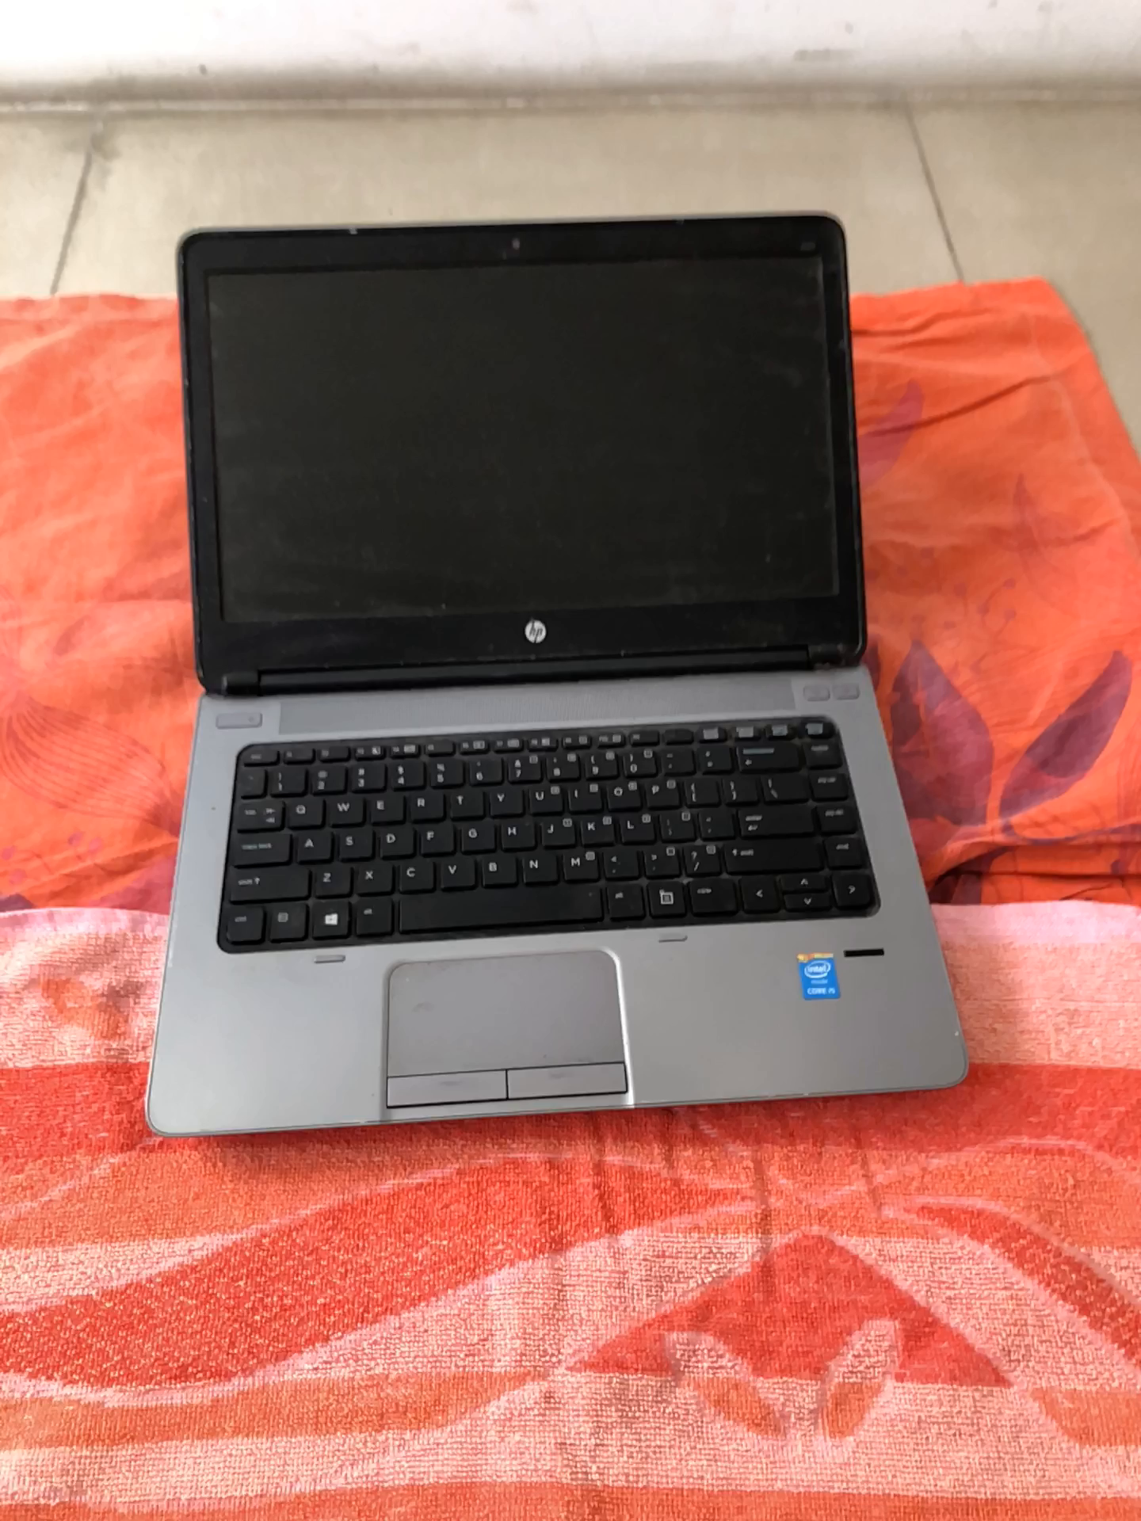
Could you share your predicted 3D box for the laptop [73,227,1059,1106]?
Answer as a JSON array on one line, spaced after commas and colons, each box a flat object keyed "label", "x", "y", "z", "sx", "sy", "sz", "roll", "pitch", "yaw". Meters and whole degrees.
[{"label": "laptop", "x": -0.011, "y": -0.069, "z": 0.577, "sx": 0.328, "sy": 0.111, "sz": 0.412, "roll": -2, "pitch": 57, "yaw": -3}]
